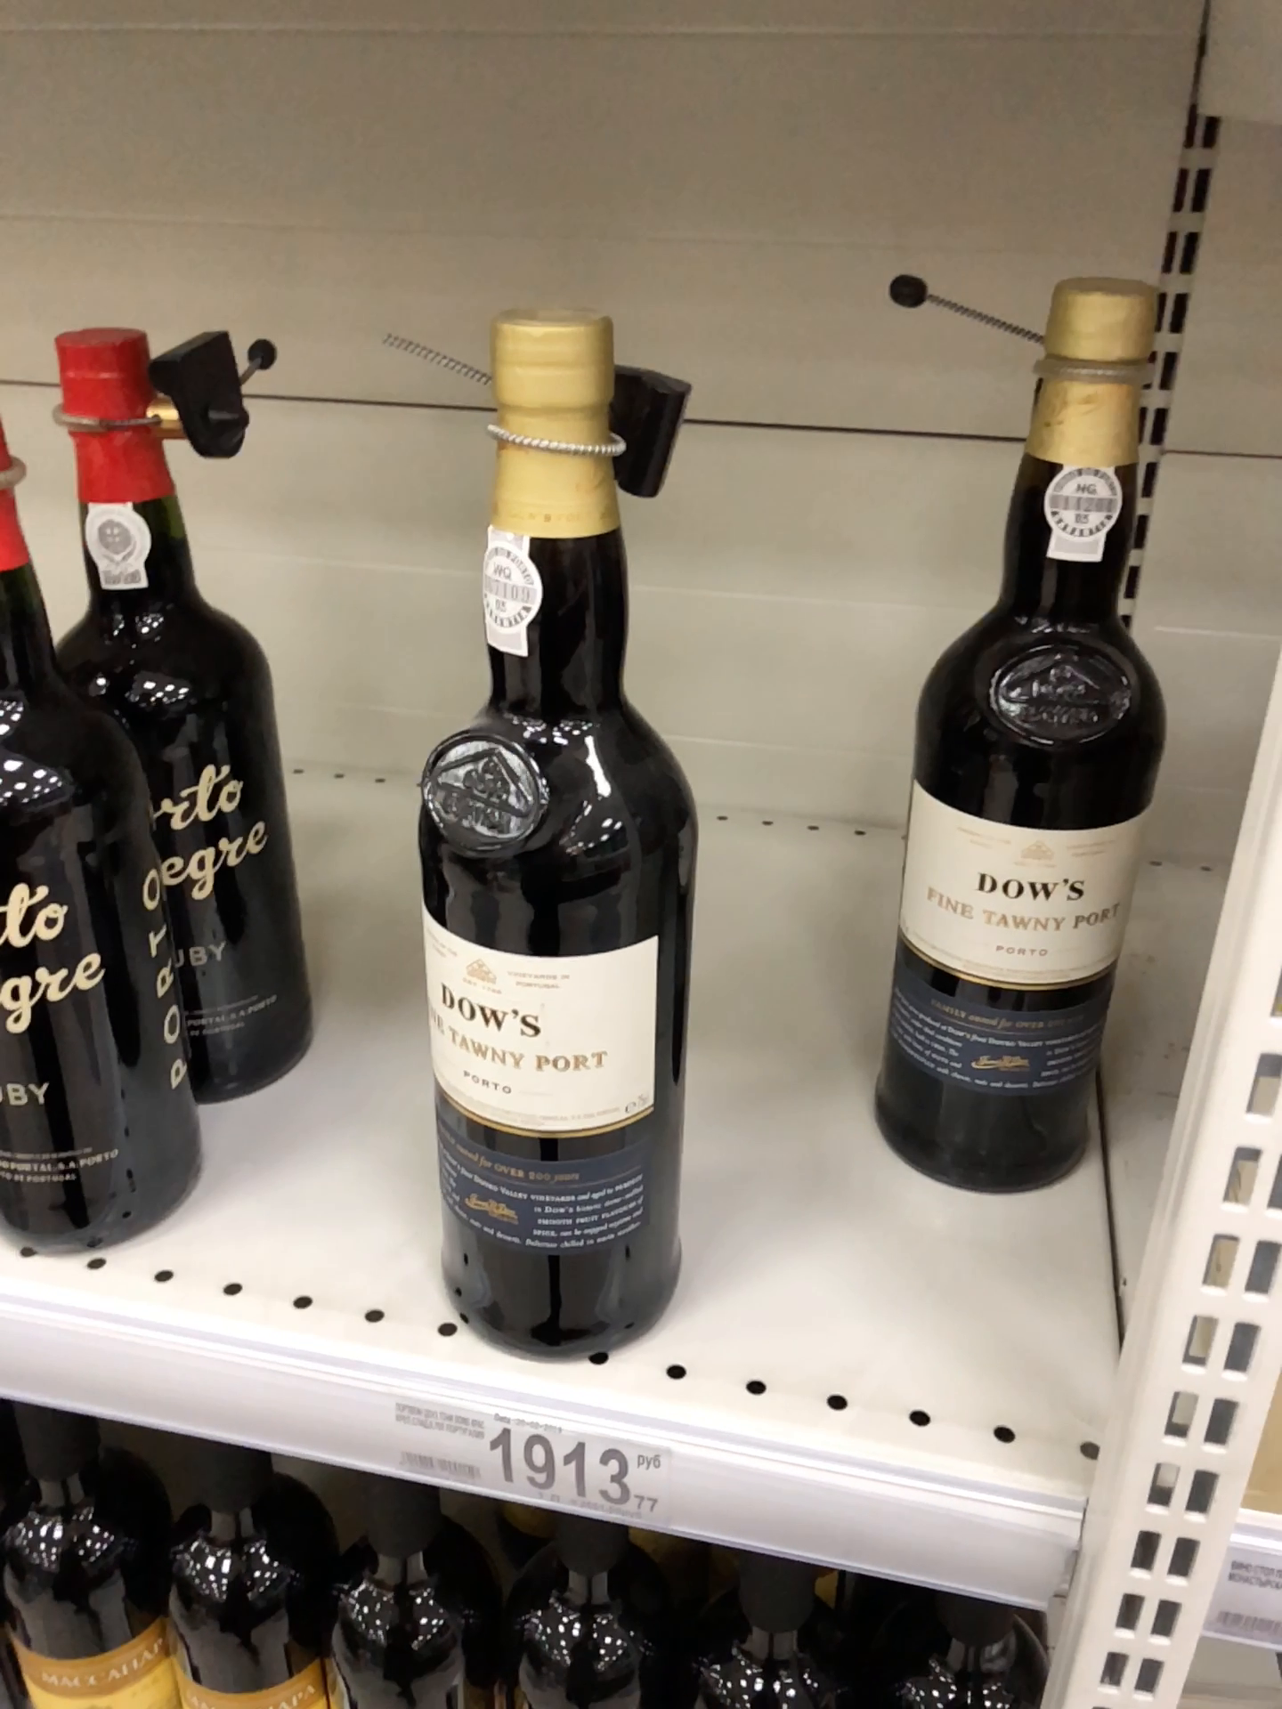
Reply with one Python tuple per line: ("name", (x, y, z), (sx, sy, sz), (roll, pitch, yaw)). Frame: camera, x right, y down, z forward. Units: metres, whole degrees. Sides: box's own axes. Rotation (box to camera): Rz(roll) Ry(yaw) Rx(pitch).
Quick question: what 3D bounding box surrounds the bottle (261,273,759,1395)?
("bottle", (-0.028, 0.001, 0.399), (0.090, 0.296, 0.090), (1, 27, 0))
